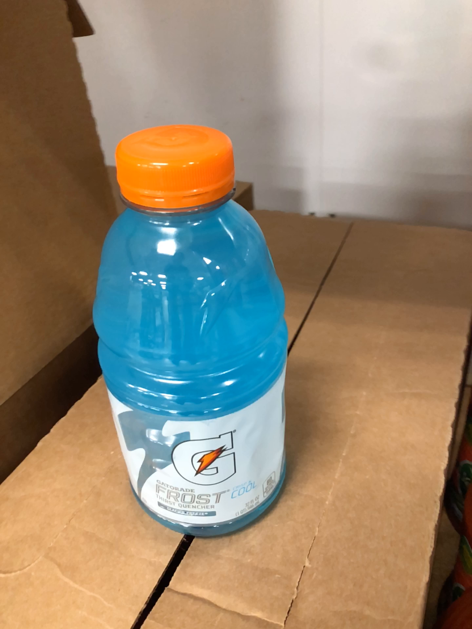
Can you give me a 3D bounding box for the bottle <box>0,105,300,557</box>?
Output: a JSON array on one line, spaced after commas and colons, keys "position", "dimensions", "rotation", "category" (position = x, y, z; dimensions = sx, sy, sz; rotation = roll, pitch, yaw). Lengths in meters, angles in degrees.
[{"position": [-0.028, 0.016, 0.262], "dimensions": [0.100, 0.199, 0.090], "rotation": [-8, 35, -3], "category": "bottle"}]
